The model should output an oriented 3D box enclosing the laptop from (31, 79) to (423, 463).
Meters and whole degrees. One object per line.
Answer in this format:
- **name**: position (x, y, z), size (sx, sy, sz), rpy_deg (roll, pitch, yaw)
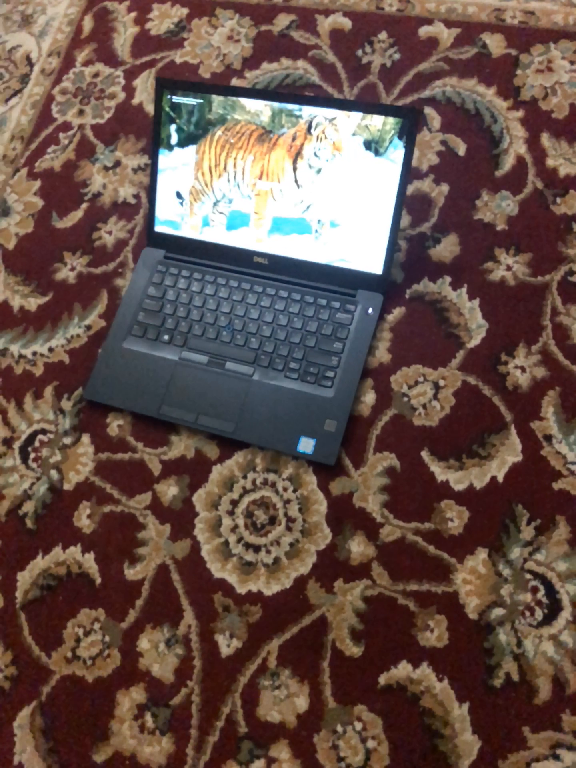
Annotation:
- **laptop**: position (-0.052, -0.144, 0.746), size (0.328, 0.124, 0.383), rpy_deg (13, 74, 16)
